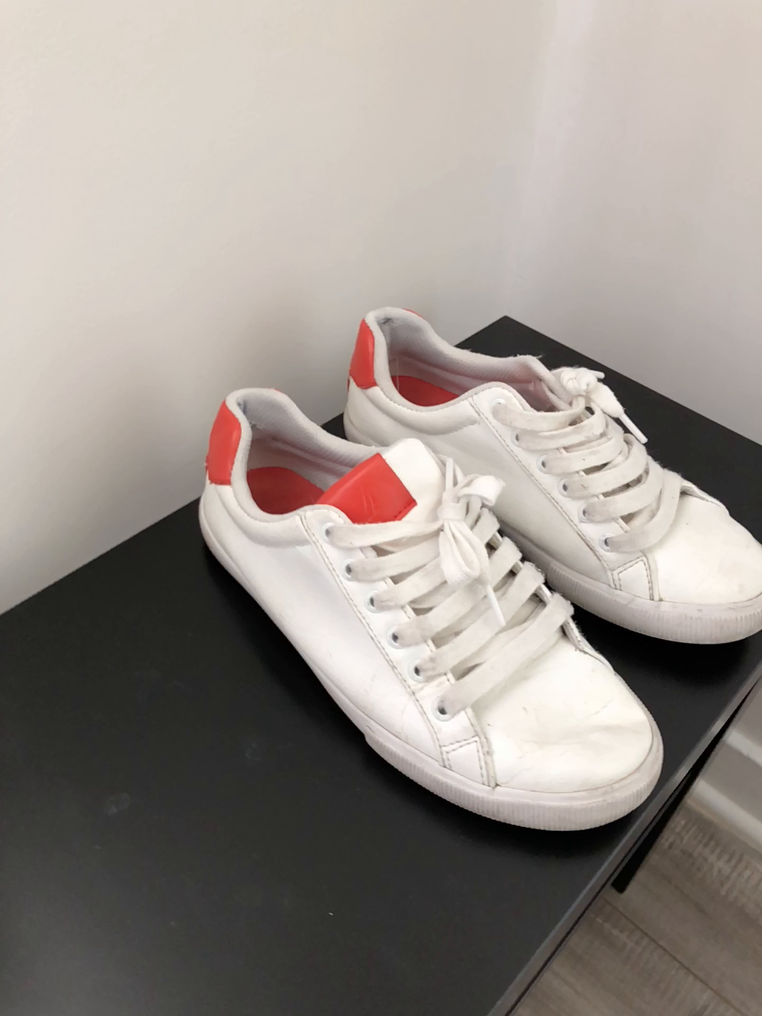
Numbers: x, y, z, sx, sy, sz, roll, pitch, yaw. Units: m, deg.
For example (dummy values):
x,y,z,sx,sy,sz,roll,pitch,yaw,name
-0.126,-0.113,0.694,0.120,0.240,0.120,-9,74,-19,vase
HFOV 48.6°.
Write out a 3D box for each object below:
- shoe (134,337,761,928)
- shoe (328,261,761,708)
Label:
x,y,z,sx,sy,sz,roll,pitch,yaw,name
0.020,0.031,0.343,0.236,0.080,0.102,33,51,27,shoe
0.092,-0.025,0.410,0.231,0.080,0.100,33,51,27,shoe
